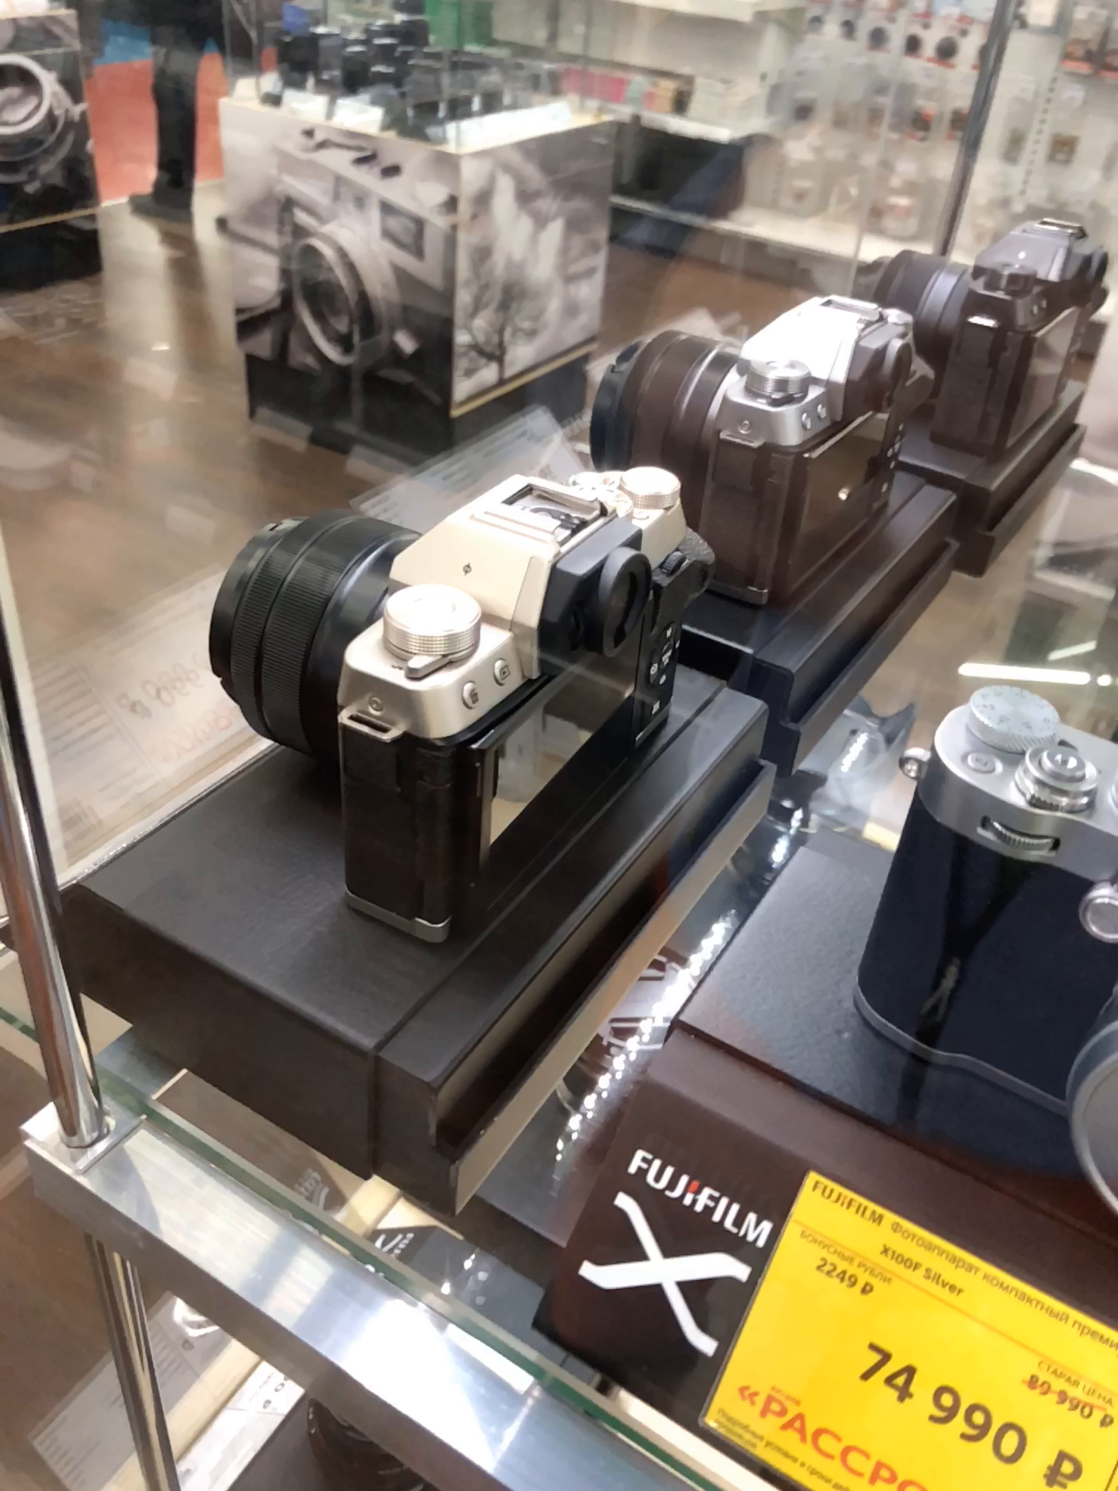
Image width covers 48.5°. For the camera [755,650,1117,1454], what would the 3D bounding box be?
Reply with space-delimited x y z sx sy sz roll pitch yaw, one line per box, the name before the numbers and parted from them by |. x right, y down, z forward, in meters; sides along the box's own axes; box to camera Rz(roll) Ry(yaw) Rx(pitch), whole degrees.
camera | 0.114 0.049 0.230 0.132 0.076 0.055 25 40 25

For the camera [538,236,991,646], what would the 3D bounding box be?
camera | 0.076 -0.118 0.451 0.102 0.086 0.141 23 39 22

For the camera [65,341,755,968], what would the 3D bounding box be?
camera | -0.029 -0.034 0.308 0.100 0.080 0.132 22 38 21
